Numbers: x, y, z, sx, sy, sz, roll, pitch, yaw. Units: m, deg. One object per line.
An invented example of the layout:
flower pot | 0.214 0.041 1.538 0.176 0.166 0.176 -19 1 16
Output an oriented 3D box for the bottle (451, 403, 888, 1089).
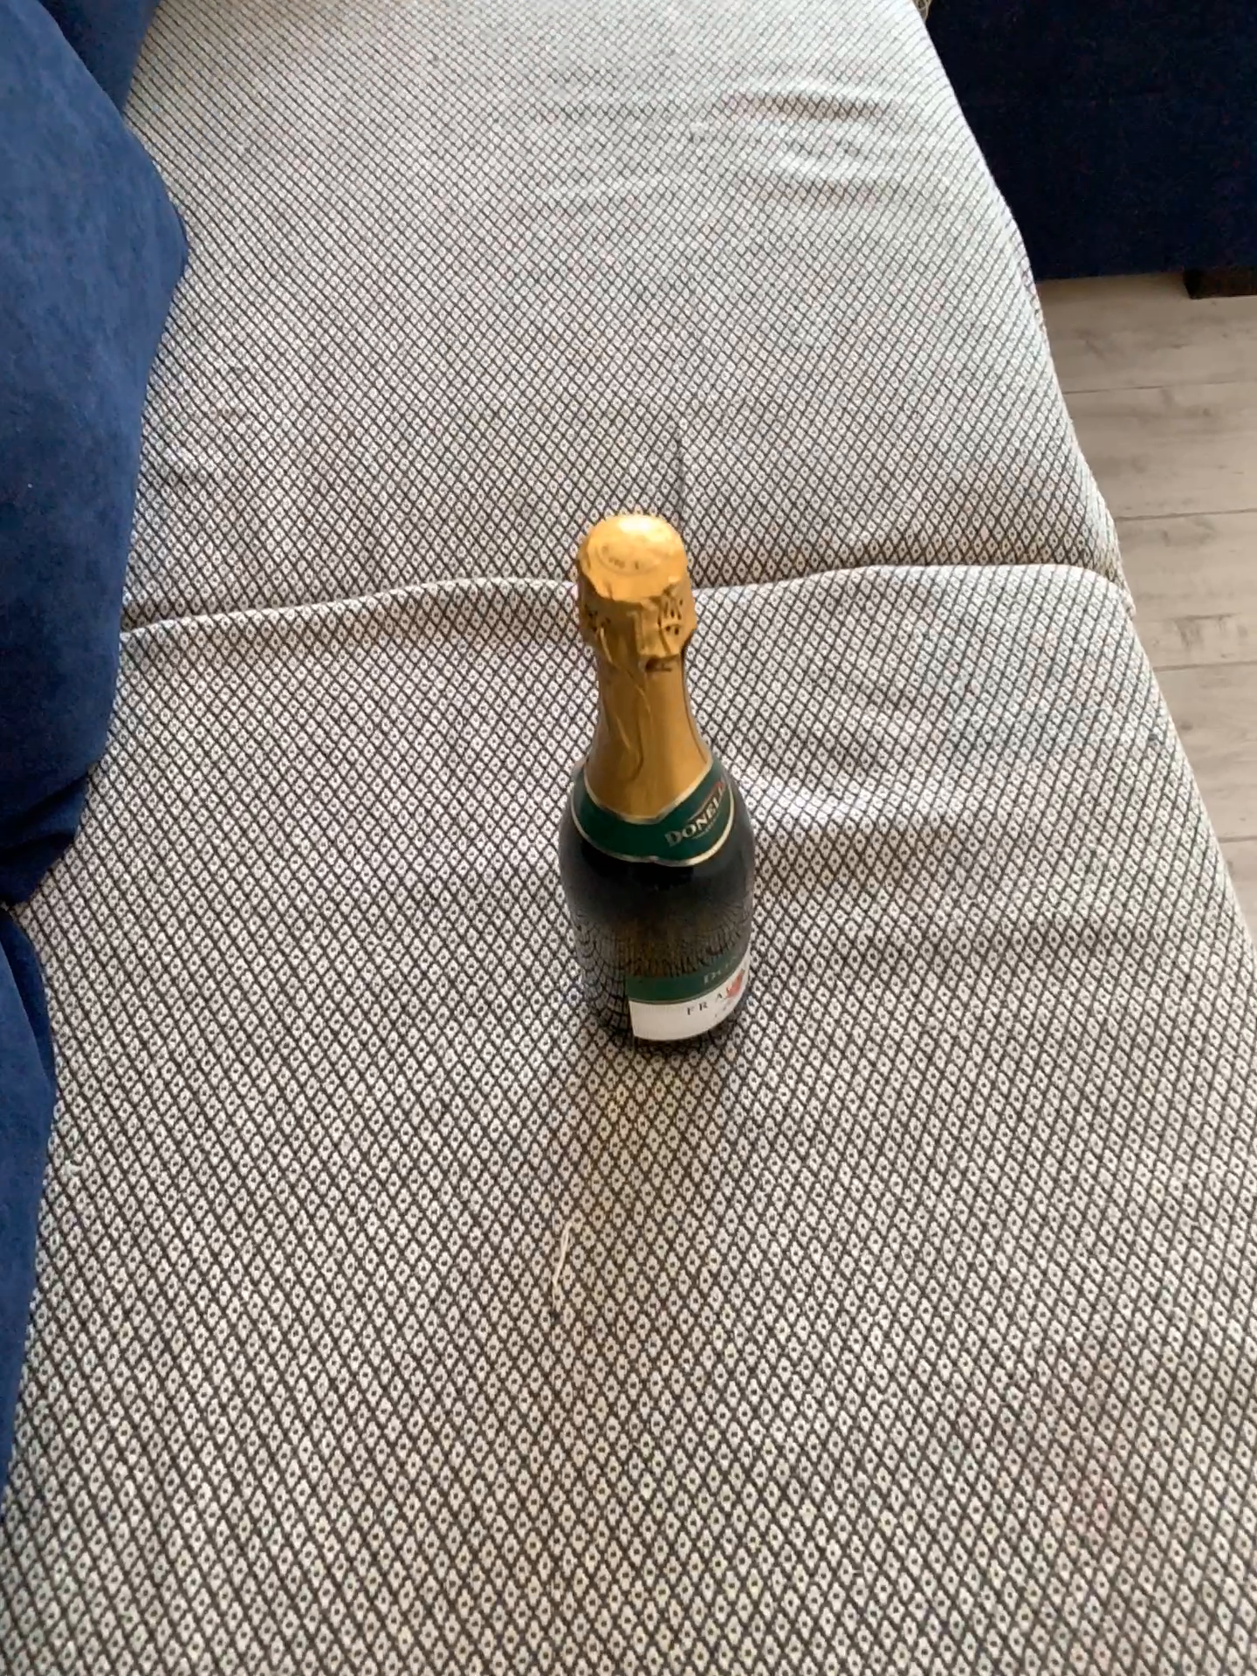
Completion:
bottle | 0.014 -0.010 0.495 0.090 0.289 0.090 0 61 1
